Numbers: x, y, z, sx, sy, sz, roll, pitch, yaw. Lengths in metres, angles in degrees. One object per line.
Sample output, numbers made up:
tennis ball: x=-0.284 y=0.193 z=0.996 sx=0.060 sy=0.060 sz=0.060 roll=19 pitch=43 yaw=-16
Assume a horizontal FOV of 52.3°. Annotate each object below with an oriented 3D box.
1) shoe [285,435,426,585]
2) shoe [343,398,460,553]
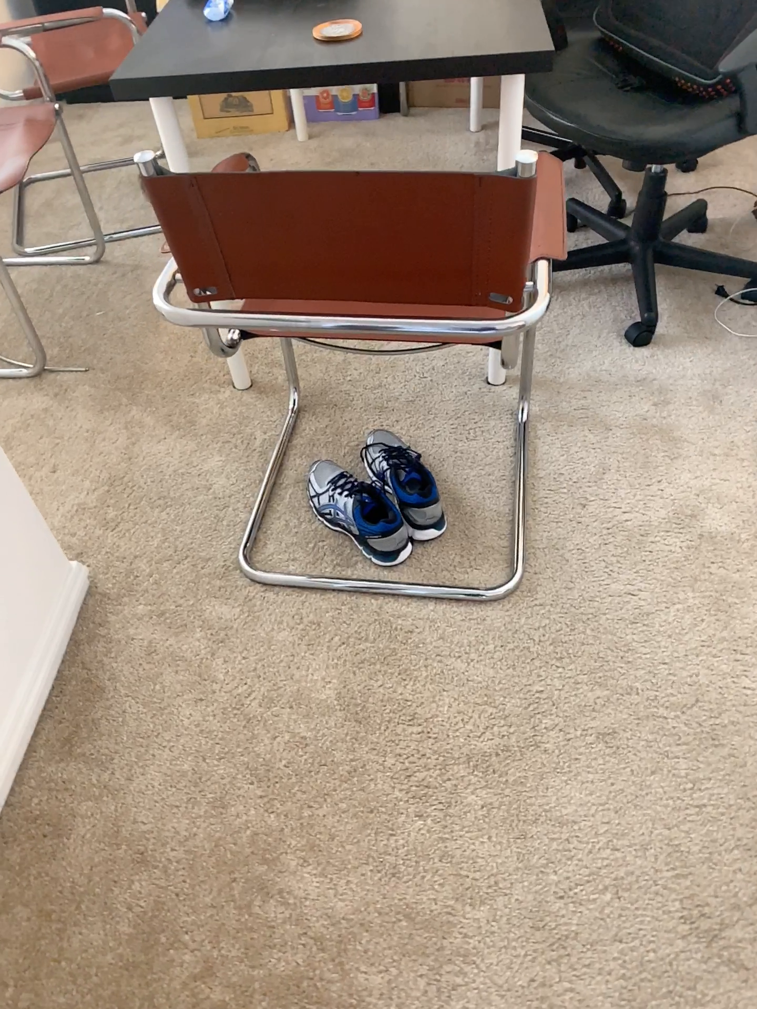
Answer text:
shoe: x=-0.051 y=0.005 z=1.585 sx=0.130 sy=0.099 sz=0.311 roll=-30 pitch=52 yaw=-20
shoe: x=0.042 y=-0.065 z=1.550 sx=0.130 sy=0.099 sz=0.312 roll=-17 pitch=48 yaw=-10
